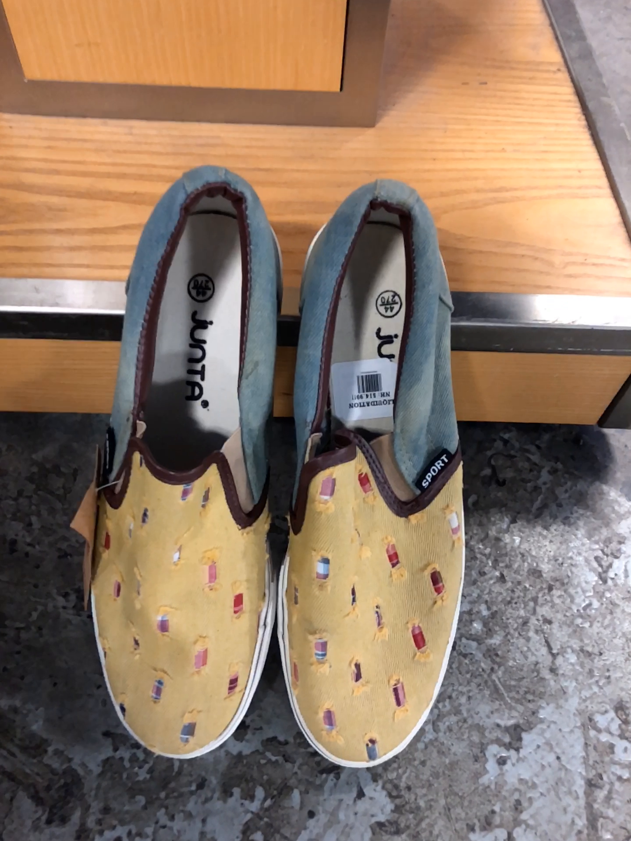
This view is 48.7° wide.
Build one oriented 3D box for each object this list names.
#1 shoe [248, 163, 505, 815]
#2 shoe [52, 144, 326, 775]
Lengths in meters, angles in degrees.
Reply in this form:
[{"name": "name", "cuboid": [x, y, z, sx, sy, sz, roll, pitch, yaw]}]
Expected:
[{"name": "shoe", "cuboid": [0.024, 0.030, 0.340, 0.090, 0.279, 0.100, 4, 13, 5]}, {"name": "shoe", "cuboid": [-0.057, 0.015, 0.345, 0.090, 0.259, 0.120, 7, 12, 2]}]
